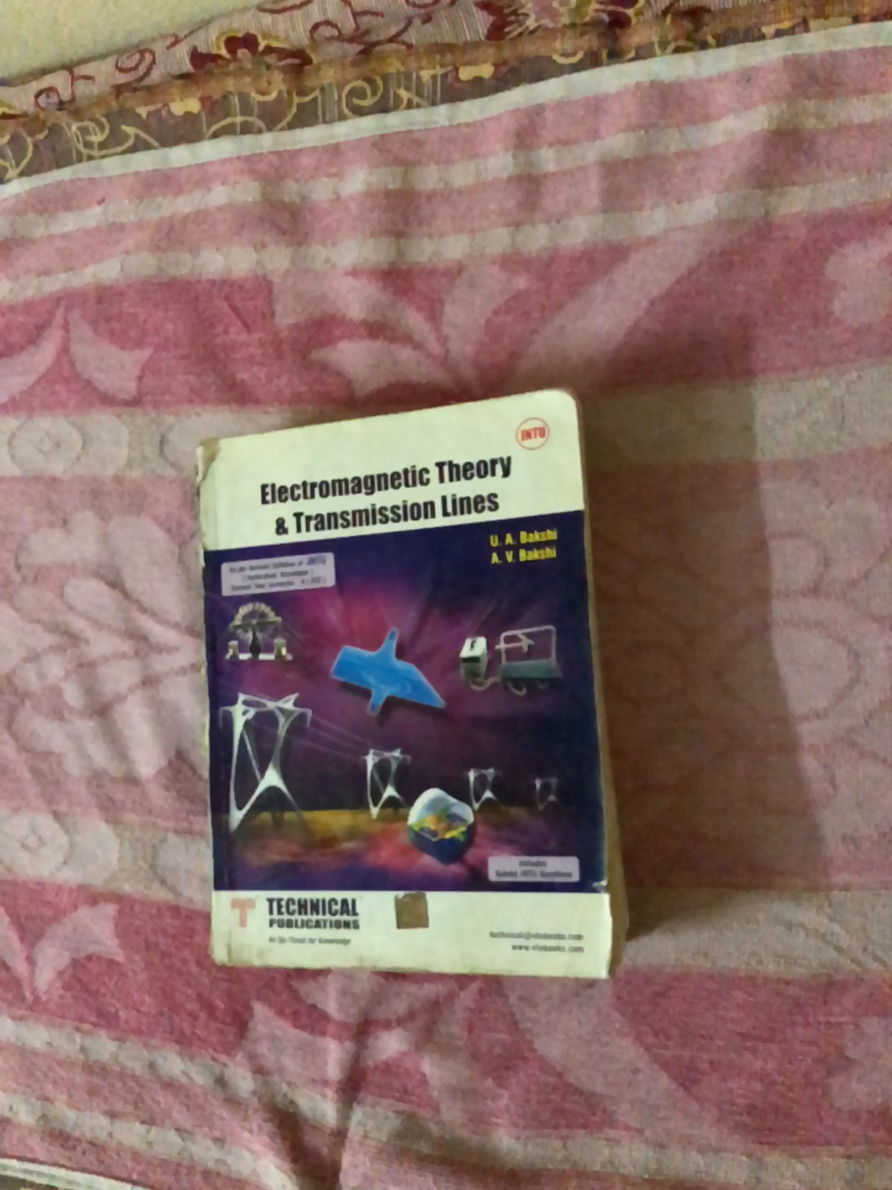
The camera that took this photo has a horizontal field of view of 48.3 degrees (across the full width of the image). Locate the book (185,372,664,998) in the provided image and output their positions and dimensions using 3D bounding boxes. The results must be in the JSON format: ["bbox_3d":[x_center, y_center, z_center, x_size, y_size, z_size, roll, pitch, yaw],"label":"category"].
[{"bbox_3d":[-0.014,0.043,0.458,0.200,0.060,0.250,-5,83,18],"label":"book"}]
